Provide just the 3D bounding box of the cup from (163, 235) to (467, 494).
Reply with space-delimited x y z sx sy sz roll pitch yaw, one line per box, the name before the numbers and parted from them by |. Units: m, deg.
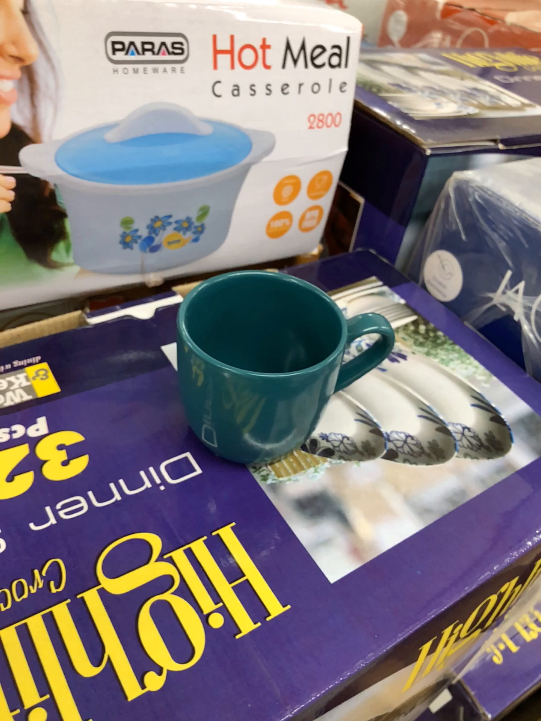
cup | 0.014 -0.004 0.231 0.090 0.050 0.060 -18 48 -30
